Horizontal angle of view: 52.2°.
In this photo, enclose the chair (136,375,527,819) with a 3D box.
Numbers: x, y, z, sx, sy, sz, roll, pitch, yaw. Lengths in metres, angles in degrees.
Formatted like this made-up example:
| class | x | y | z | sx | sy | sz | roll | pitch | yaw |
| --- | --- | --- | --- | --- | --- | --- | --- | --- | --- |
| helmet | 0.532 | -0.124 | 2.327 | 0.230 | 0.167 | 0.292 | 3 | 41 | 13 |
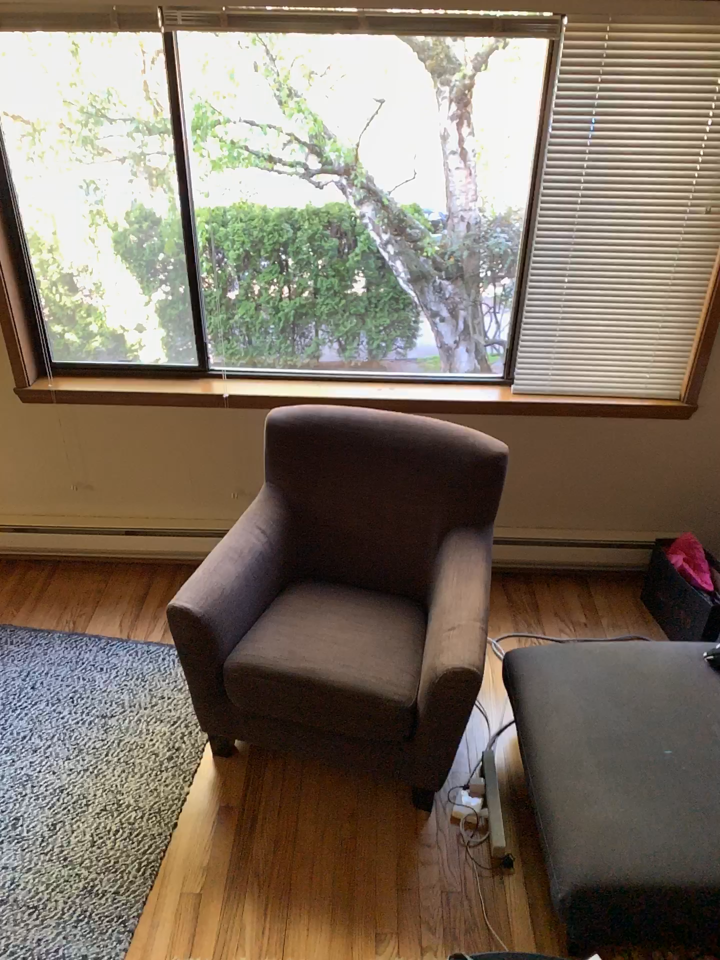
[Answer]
| class | x | y | z | sx | sy | sz | roll | pitch | yaw |
| --- | --- | --- | --- | --- | --- | --- | --- | --- | --- |
| chair | -0.025 | 0.290 | 2.227 | 0.881 | 0.875 | 0.804 | 9 | 30 | 12 |
